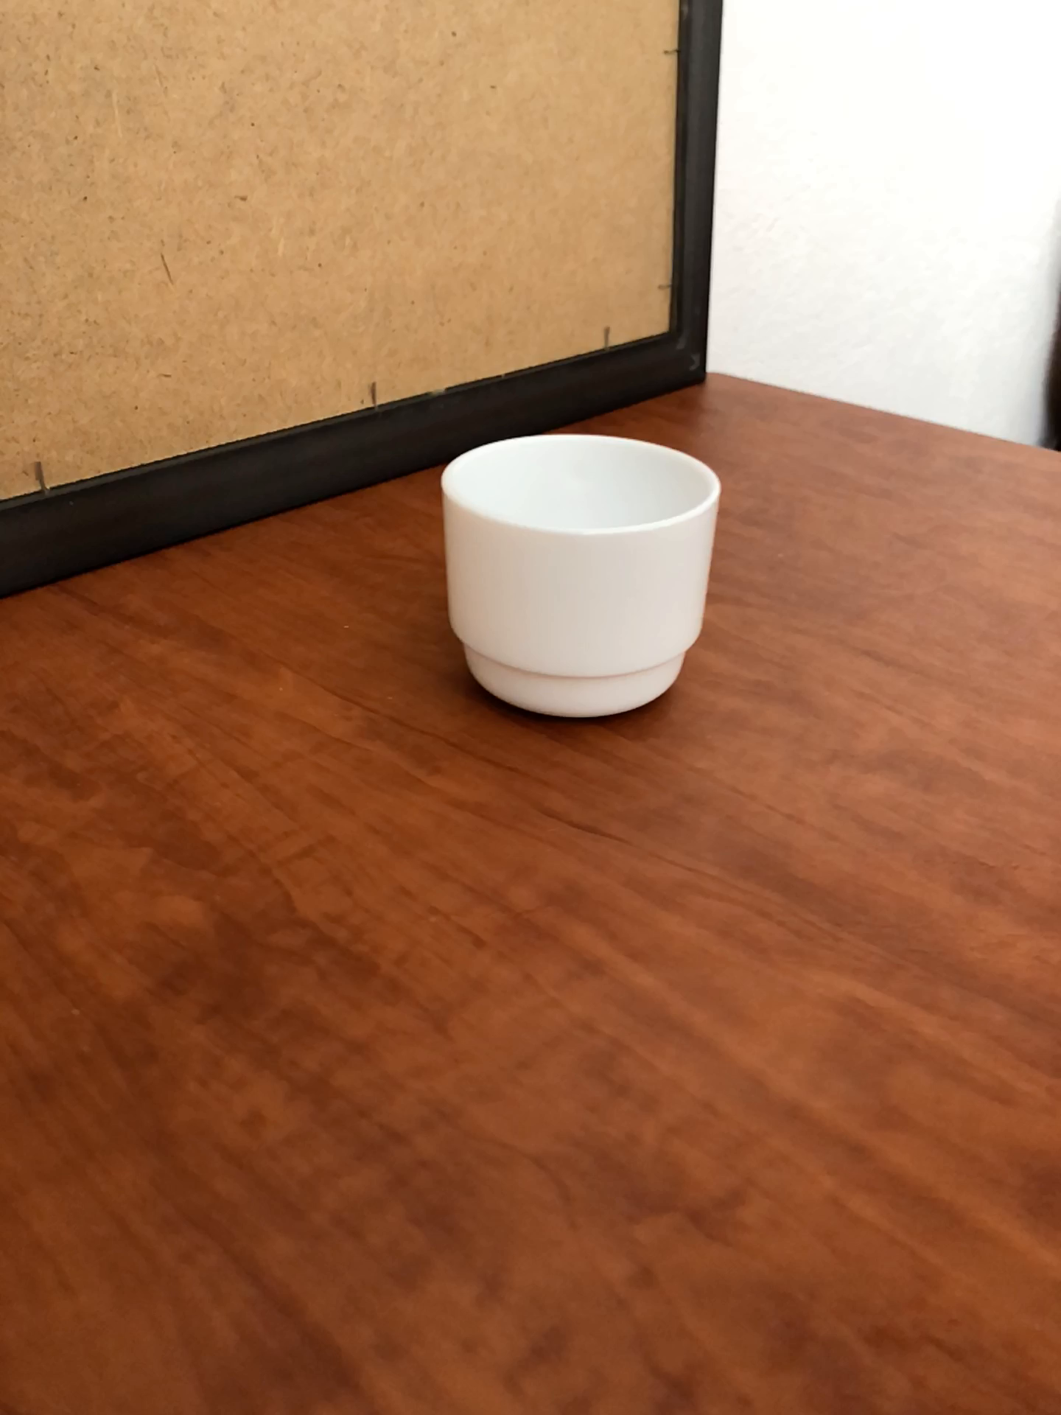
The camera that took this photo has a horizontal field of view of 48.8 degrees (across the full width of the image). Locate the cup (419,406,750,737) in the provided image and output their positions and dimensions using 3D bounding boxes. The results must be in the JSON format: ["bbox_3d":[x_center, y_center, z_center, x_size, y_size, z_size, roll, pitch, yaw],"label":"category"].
[{"bbox_3d":[0.013,-0.048,0.372,0.086,0.060,0.120,0,30,-1],"label":"cup"}]
